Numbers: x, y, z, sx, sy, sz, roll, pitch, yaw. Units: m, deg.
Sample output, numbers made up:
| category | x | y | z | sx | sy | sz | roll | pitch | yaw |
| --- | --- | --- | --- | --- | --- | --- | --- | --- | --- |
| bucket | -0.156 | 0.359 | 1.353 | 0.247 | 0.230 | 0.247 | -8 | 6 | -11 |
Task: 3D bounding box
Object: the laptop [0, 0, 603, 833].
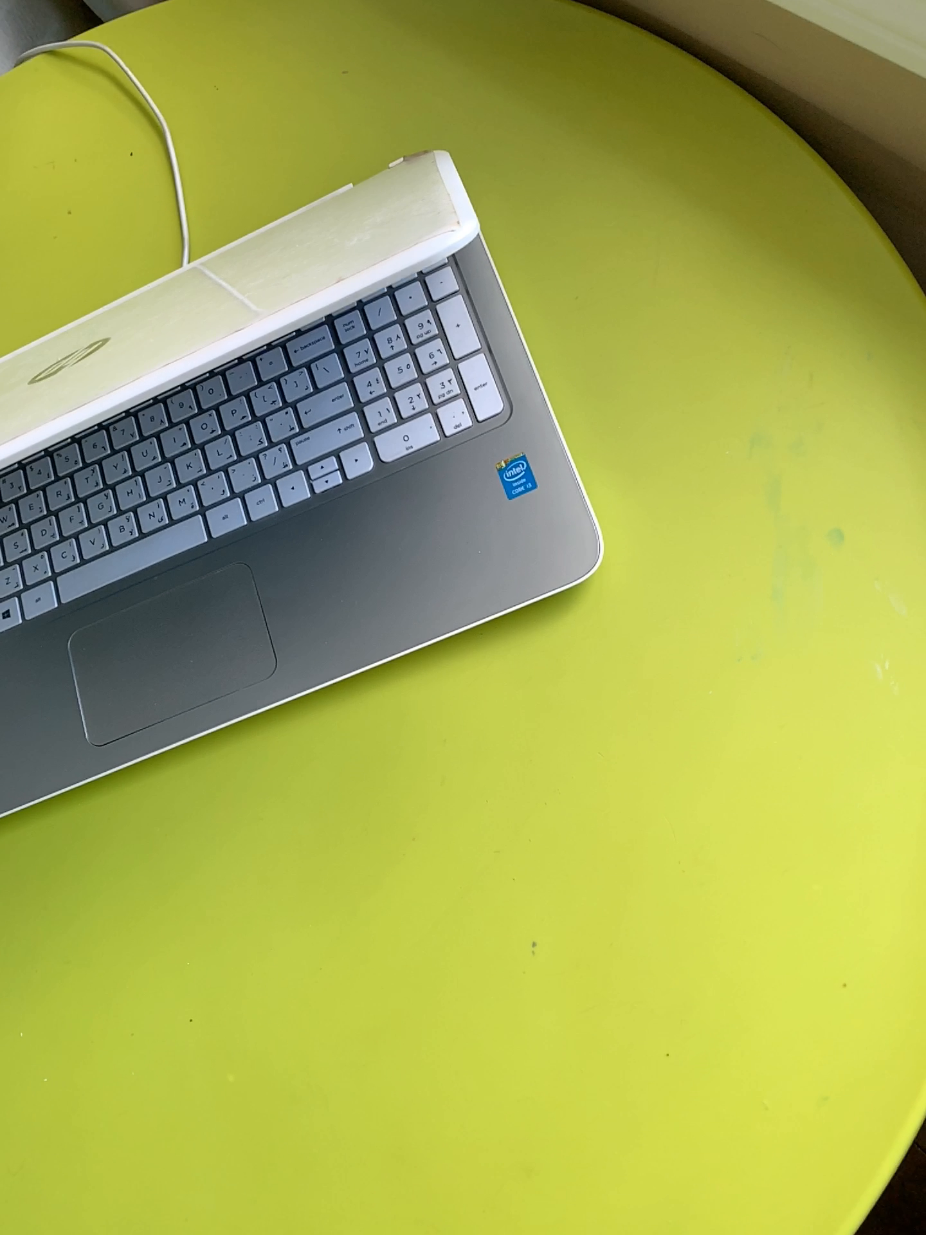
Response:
| category | x | y | z | sx | sy | sz | roll | pitch | yaw |
| --- | --- | --- | --- | --- | --- | --- | --- | --- | --- |
| laptop | -0.163 | -0.086 | 0.422 | 0.367 | 0.163 | 0.243 | -22 | 71 | 9 |
